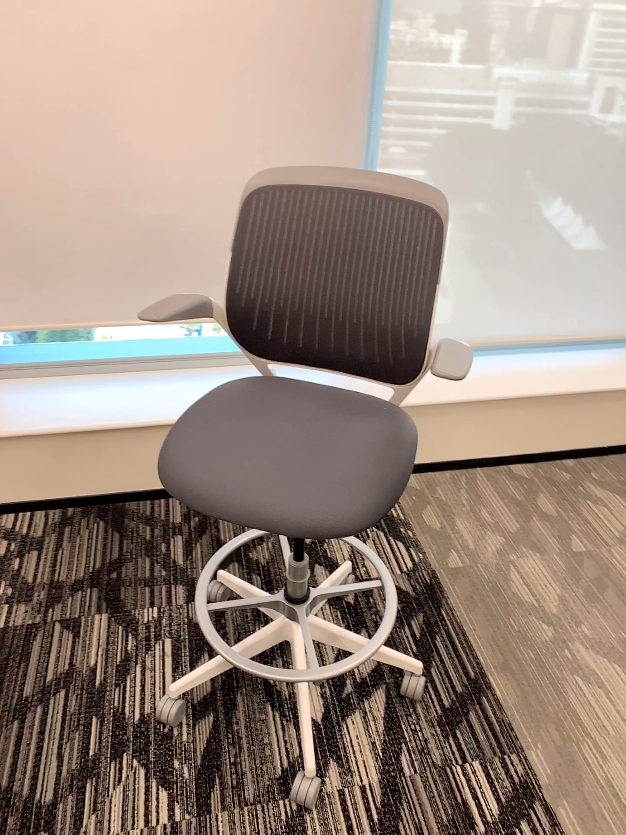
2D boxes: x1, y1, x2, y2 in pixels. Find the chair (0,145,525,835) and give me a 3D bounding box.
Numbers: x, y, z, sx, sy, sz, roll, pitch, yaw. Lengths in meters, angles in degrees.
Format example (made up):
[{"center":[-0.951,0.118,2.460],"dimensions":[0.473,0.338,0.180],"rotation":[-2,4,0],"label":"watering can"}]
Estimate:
[{"center":[-0.072,0.119,1.359],"dimensions":[0.691,1.140,0.695],"rotation":[15,34,18],"label":"chair"}]
